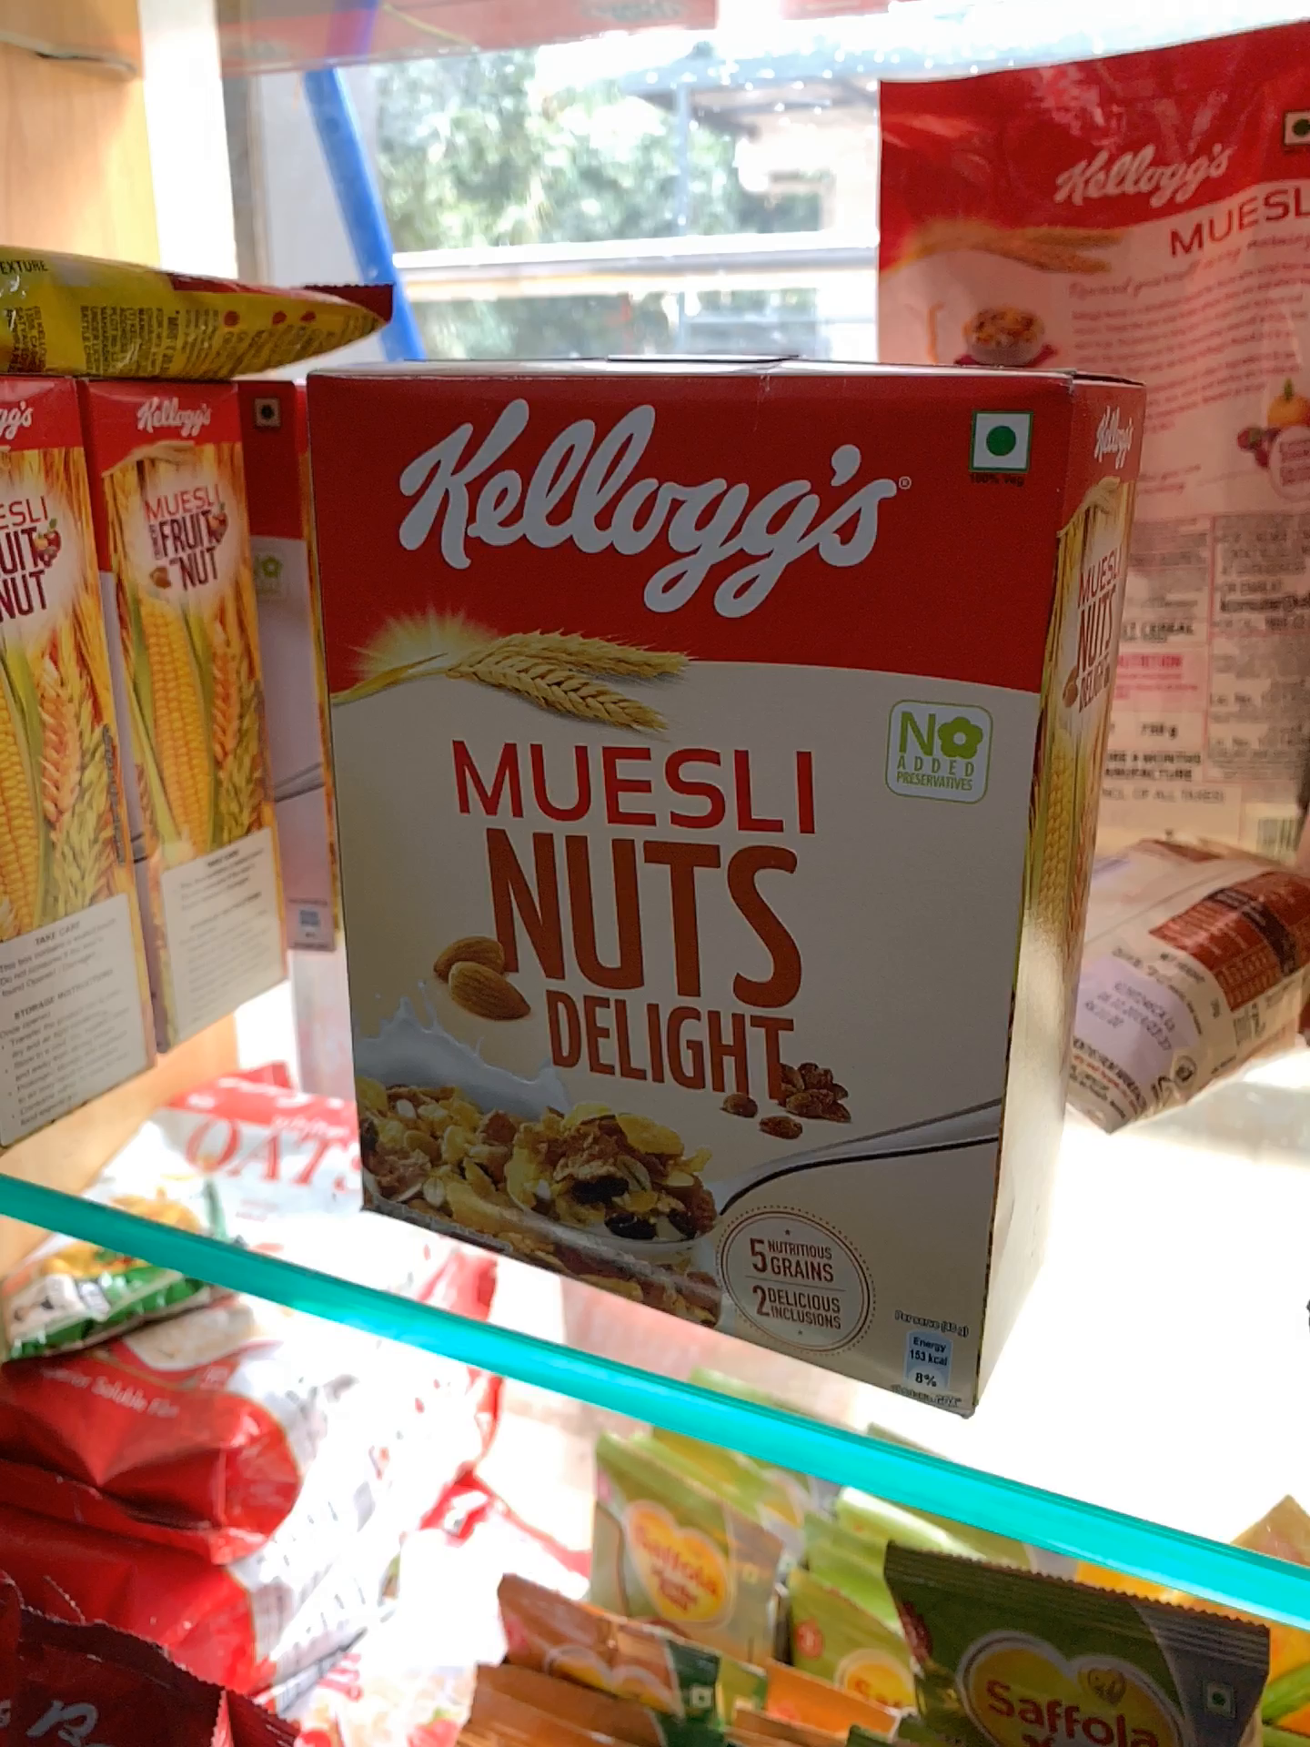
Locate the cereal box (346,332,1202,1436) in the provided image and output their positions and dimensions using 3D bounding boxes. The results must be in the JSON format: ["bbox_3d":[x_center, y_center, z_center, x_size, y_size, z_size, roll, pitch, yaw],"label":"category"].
[{"bbox_3d":[0.016,-0.006,0.250,0.130,0.169,0.050,11,21,28],"label":"cereal box"}]
